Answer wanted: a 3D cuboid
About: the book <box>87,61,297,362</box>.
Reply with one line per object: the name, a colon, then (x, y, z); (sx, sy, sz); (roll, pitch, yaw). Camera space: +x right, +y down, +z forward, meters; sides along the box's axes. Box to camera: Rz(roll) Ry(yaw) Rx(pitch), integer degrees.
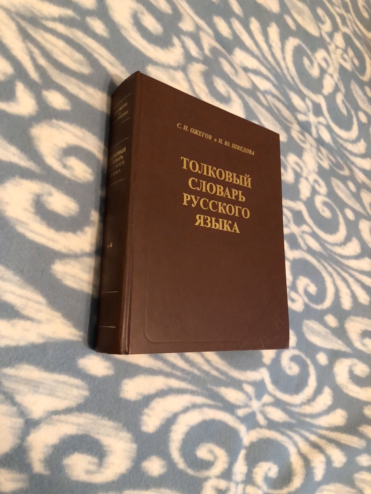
book: (0.020, -0.021, 0.446); (0.221, 0.067, 0.270); (10, 76, -36)
